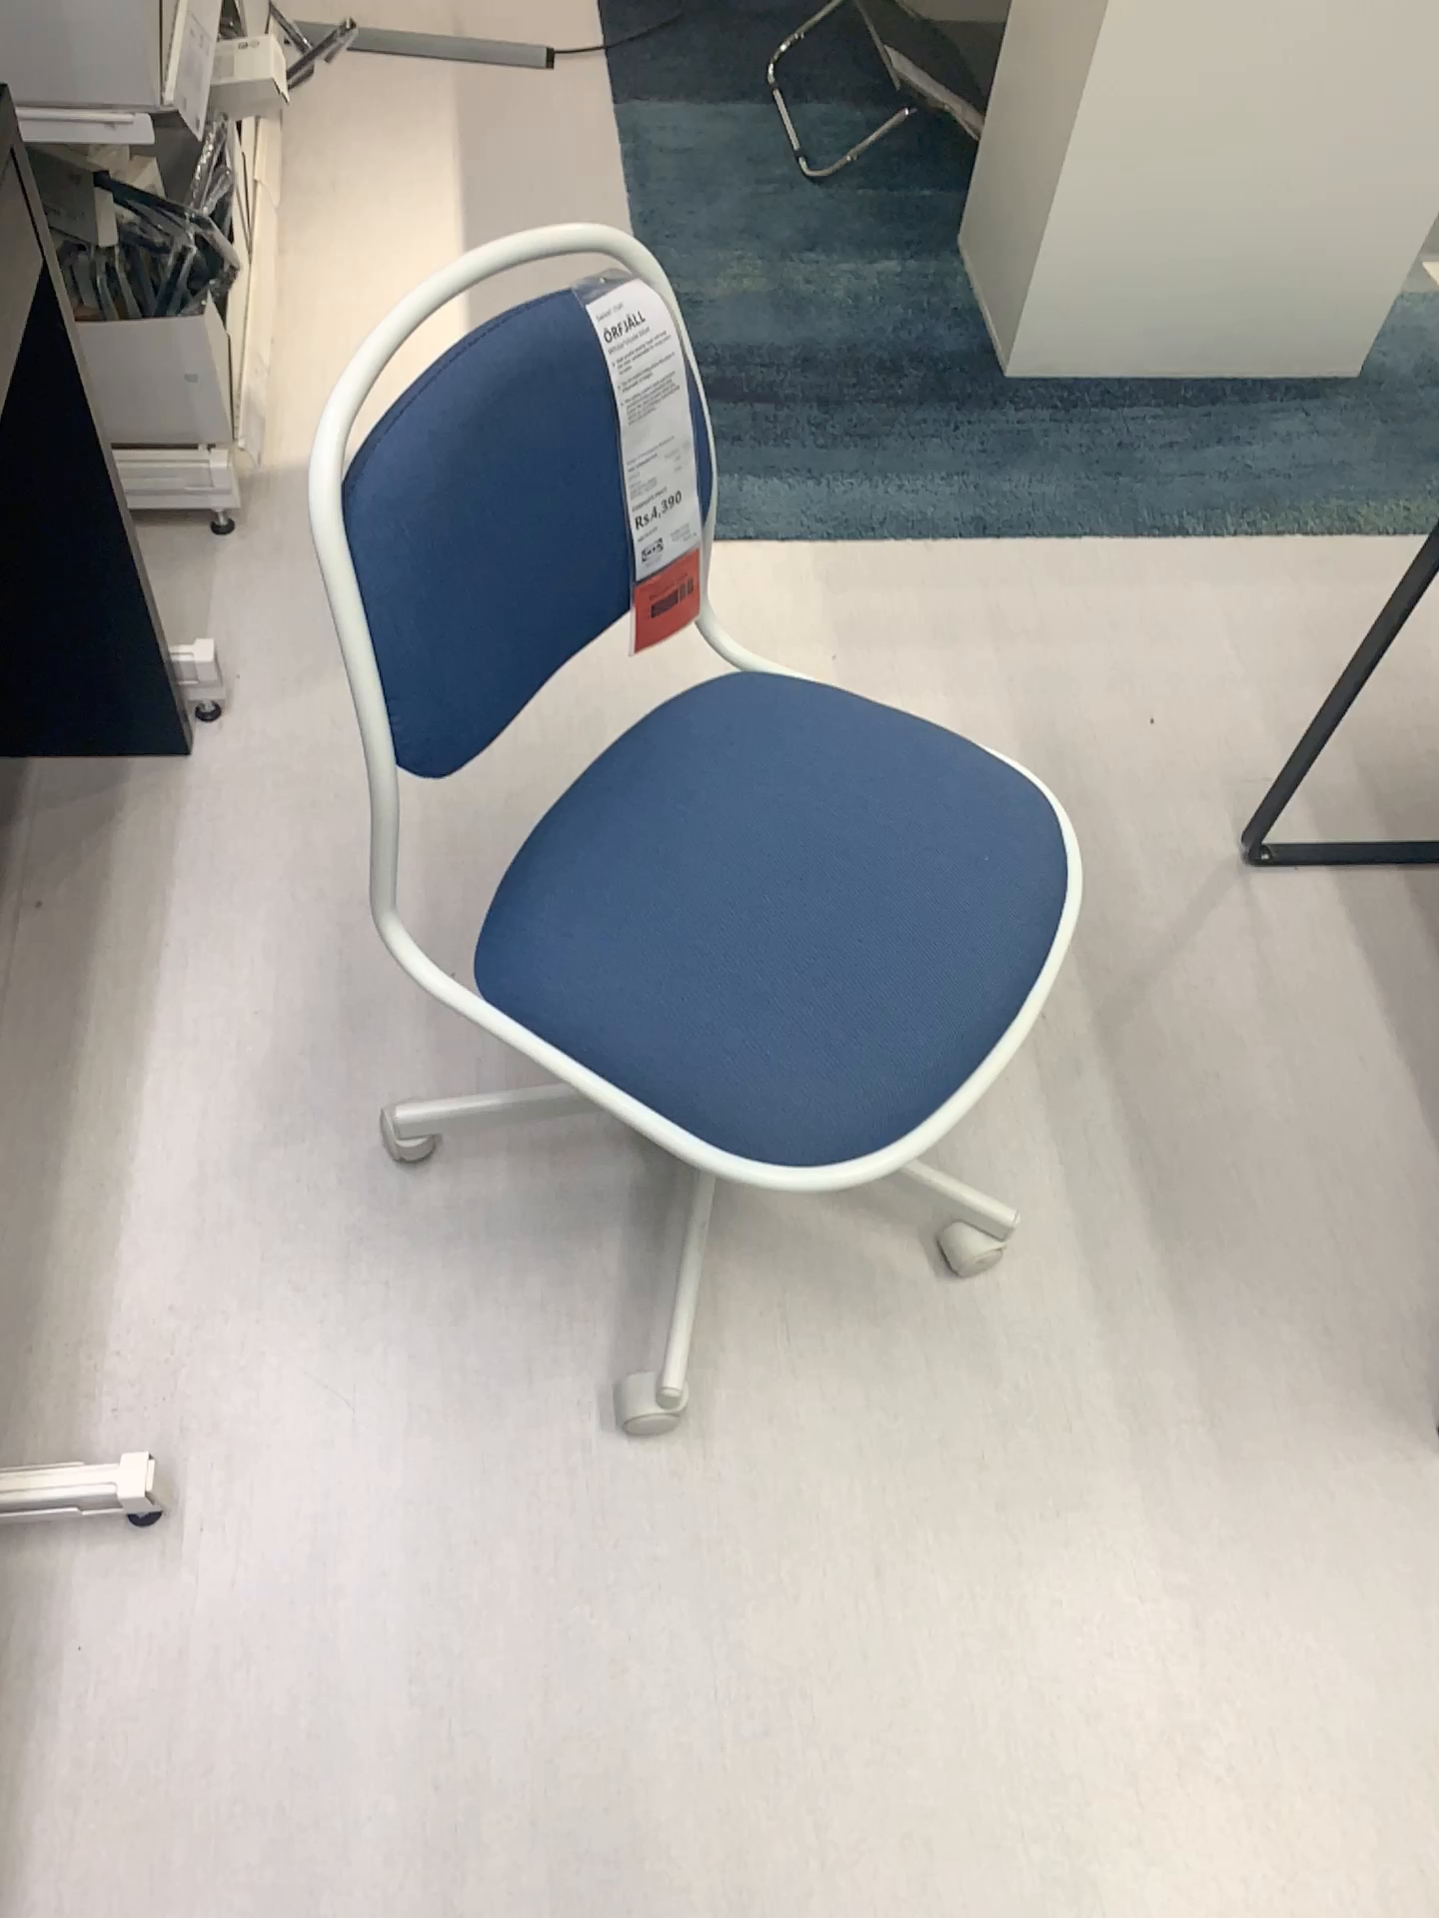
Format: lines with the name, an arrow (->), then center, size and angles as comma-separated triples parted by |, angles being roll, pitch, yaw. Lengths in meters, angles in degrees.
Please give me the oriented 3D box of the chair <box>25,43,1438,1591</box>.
chair -> 0.055, -0.058, 1.122 | 0.600, 0.798, 0.641 | 31, 59, 14
